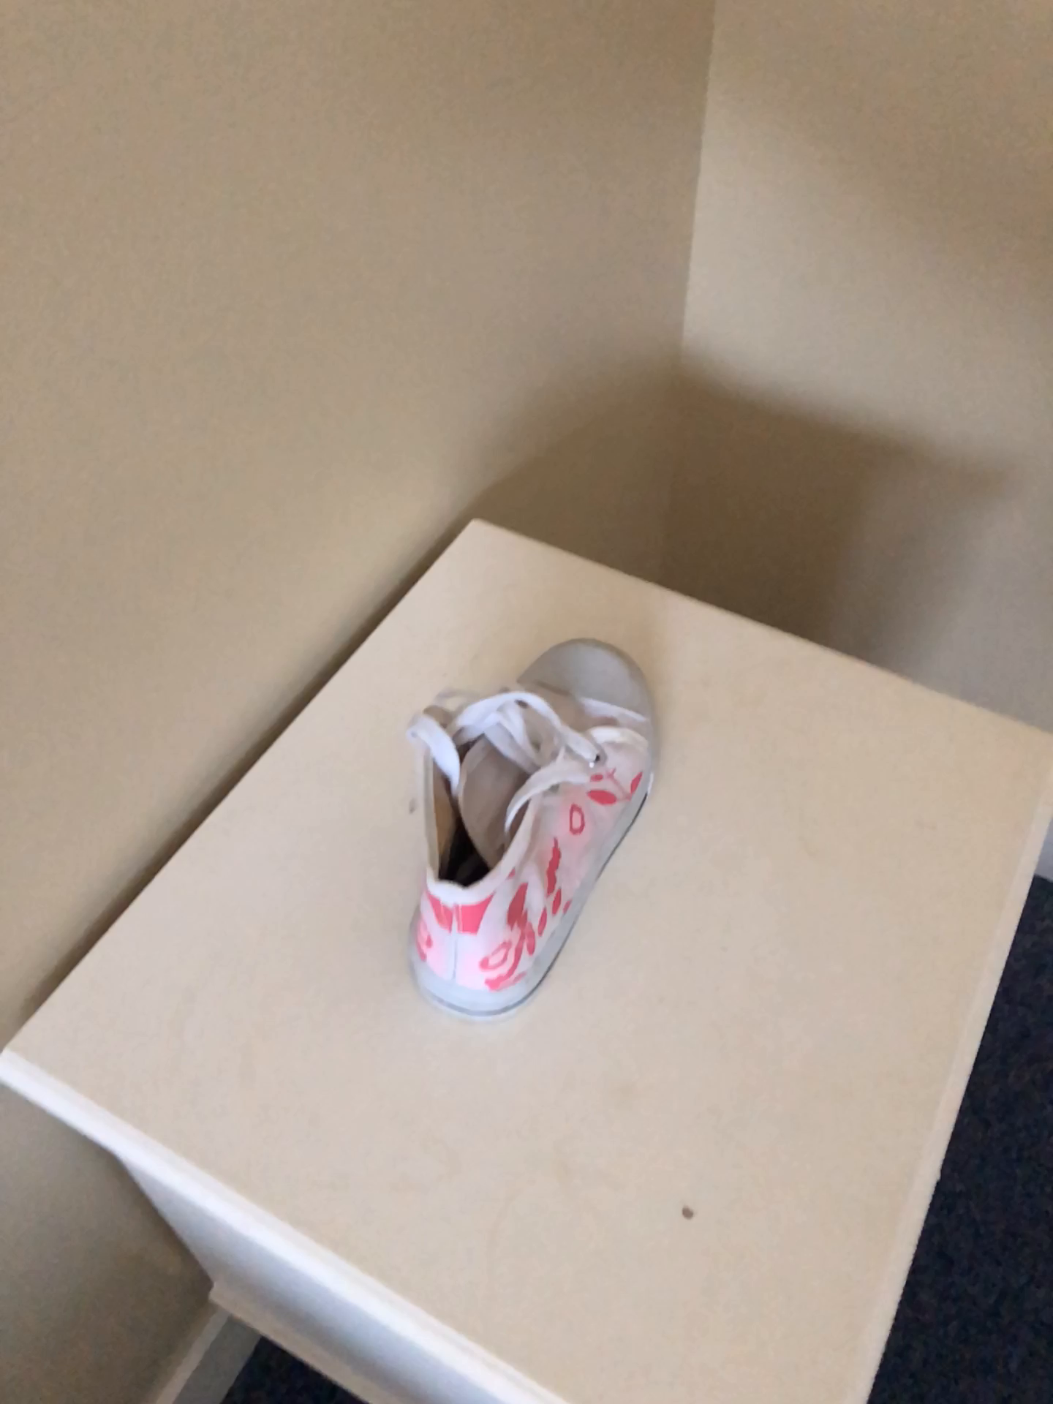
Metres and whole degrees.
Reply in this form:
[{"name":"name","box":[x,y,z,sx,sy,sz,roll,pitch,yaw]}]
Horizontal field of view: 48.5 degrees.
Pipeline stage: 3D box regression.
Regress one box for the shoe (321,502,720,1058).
[{"name":"shoe","box":[0.007,0.024,0.474,0.080,0.099,0.191,17,52,15]}]
